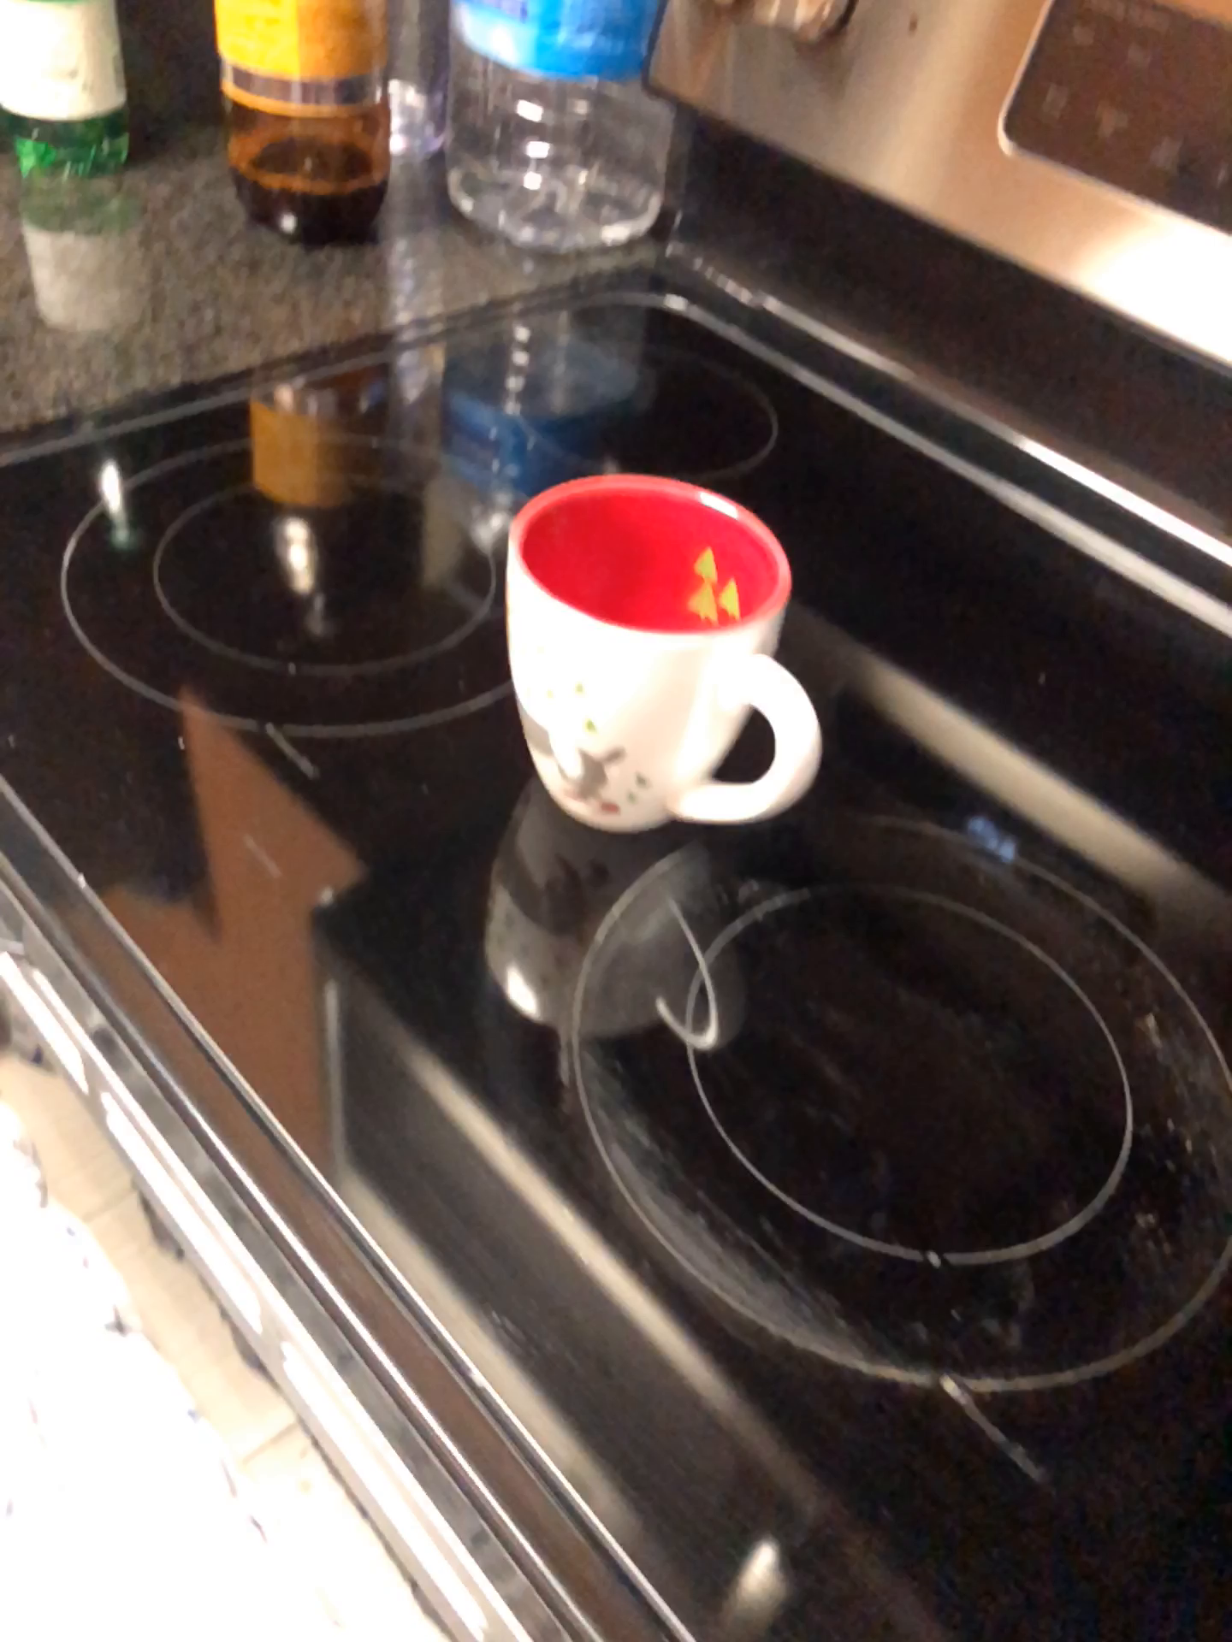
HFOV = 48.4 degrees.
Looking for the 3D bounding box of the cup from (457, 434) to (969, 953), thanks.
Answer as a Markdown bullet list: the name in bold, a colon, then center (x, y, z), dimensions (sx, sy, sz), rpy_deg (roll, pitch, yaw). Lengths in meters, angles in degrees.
- **cup**: center (0.028, -0.051, 0.495), dimensions (0.100, 0.100, 0.140), rpy_deg (-30, 56, -33)
